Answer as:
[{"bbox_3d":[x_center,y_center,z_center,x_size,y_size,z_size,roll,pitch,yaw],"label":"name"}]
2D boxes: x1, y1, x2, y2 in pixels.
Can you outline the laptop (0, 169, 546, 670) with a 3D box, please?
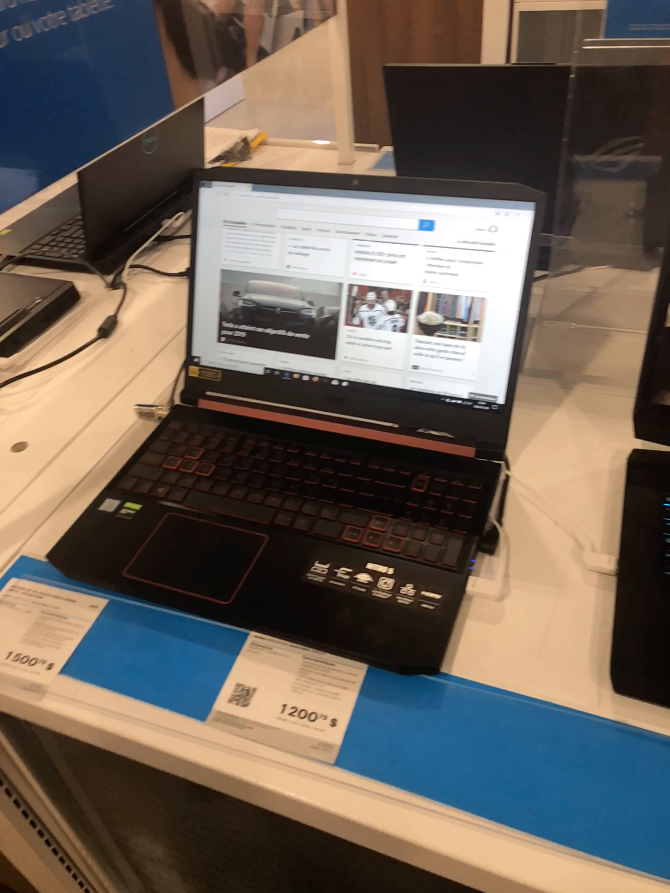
[{"bbox_3d":[-0.035,-0.063,0.648,0.357,0.211,0.360,10,44,19],"label":"laptop"}]
